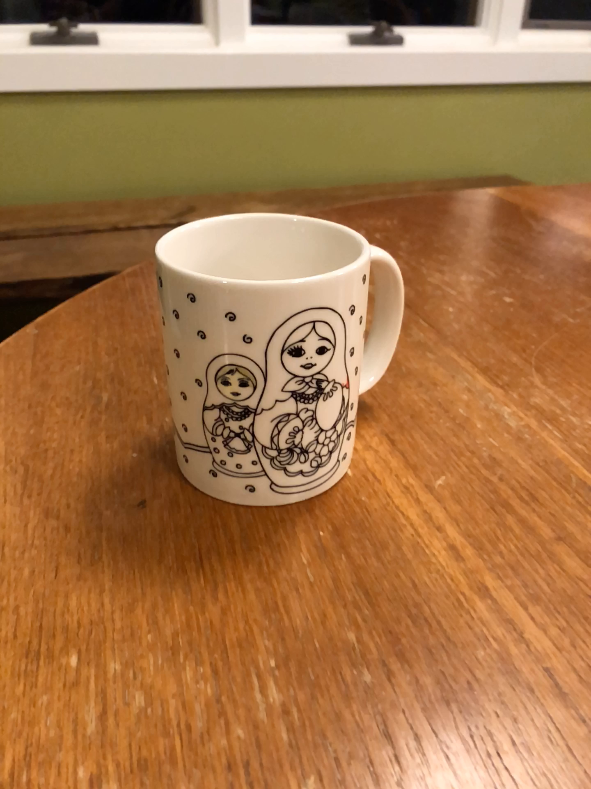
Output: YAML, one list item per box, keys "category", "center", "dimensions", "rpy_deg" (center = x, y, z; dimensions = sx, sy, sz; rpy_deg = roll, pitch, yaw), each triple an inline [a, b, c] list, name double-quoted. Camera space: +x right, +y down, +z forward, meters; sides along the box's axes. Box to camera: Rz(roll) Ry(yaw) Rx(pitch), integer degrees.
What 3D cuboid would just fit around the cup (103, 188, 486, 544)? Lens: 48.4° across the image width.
- category: "cup"
  center: [-0.001, -0.022, 0.289]
  dimensions: [0.127, 0.099, 0.088]
  rpy_deg: [-20, 37, -30]
